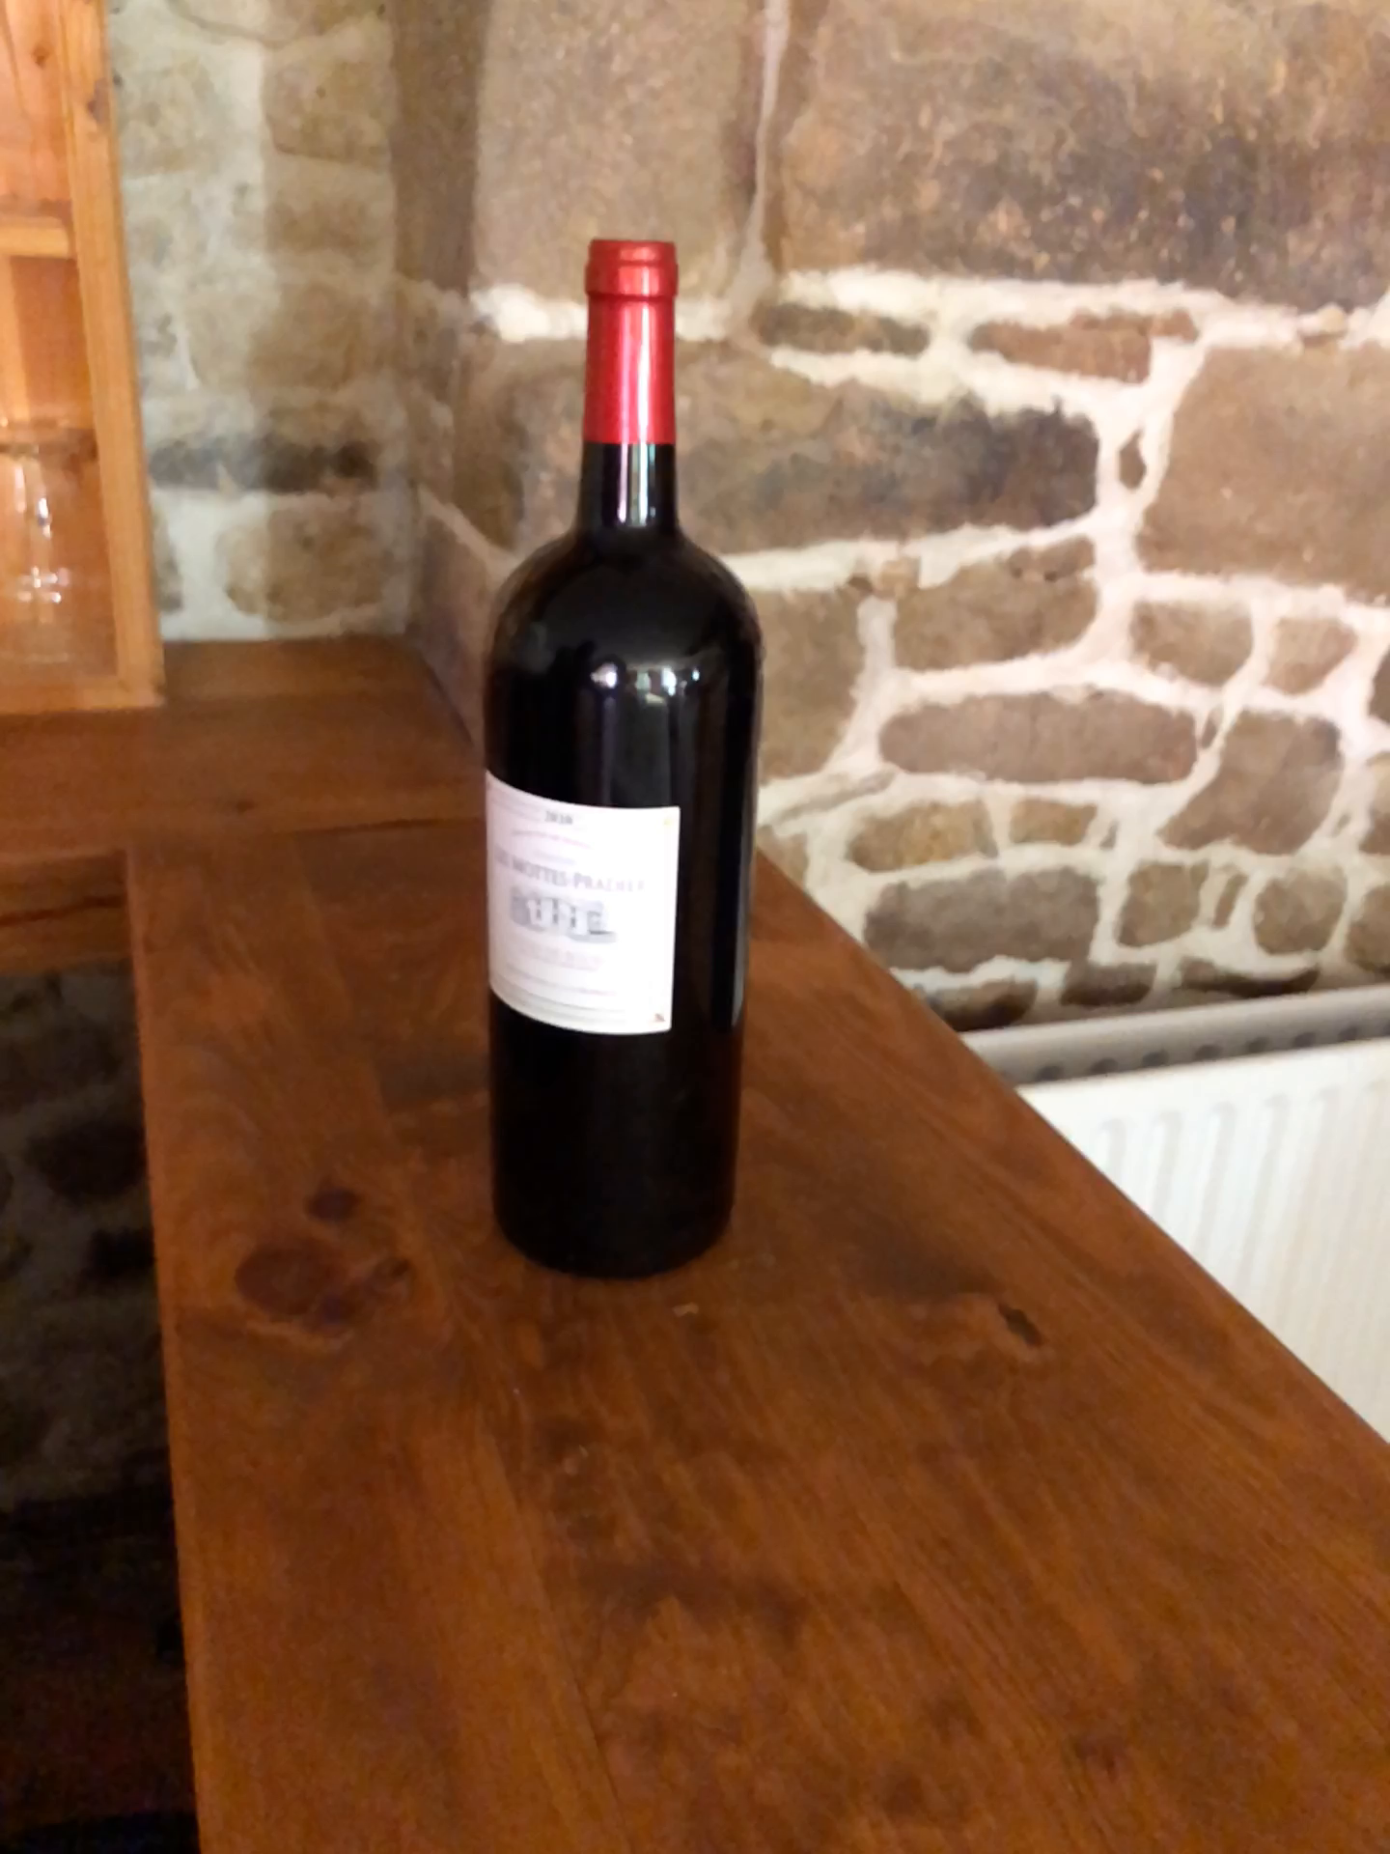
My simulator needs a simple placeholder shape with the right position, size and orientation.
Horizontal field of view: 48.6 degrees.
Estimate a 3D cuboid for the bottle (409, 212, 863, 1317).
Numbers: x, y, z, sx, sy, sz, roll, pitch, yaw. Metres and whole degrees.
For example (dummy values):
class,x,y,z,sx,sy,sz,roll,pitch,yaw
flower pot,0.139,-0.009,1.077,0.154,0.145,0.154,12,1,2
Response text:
class,x,y,z,sx,sy,sz,roll,pitch,yaw
bottle,-0.025,-0.051,0.533,0.100,0.348,0.101,3,23,-1
